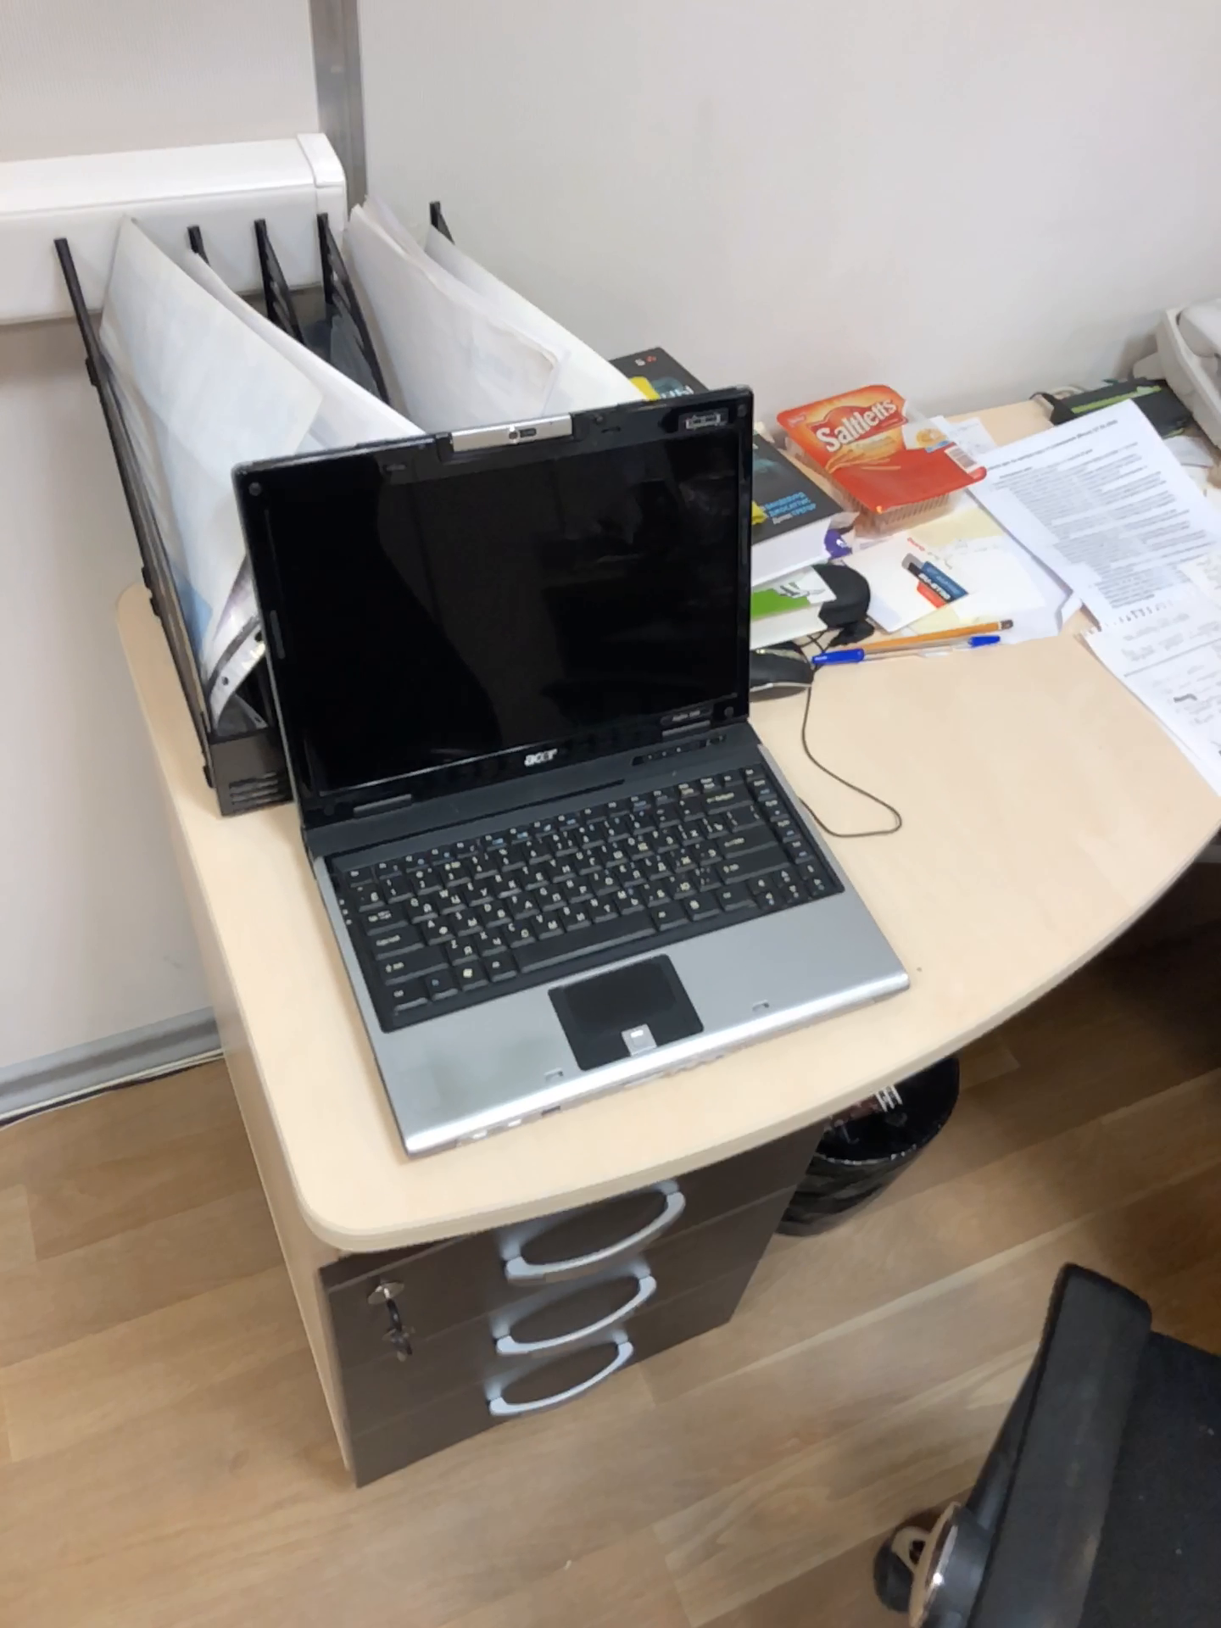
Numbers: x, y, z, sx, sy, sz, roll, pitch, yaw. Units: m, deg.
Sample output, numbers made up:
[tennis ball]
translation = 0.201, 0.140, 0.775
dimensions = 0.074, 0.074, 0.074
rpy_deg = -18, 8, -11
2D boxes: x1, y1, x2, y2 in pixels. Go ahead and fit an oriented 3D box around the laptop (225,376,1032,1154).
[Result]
[laptop]
translation = -0.011, -0.045, 0.783
dimensions = 0.326, 0.219, 0.324
rpy_deg = -15, 55, -18
